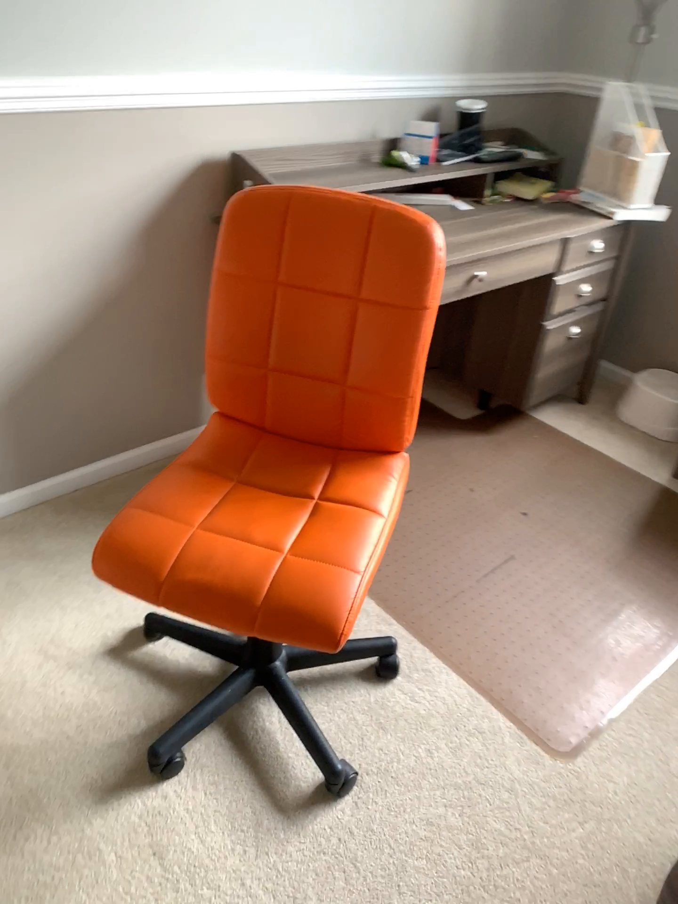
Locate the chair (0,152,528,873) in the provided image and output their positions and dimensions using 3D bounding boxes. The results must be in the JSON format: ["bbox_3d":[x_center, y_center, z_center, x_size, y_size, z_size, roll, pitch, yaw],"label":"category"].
[{"bbox_3d":[-0.126,0.062,1.171,0.593,0.904,0.603,16,34,17],"label":"chair"}]
